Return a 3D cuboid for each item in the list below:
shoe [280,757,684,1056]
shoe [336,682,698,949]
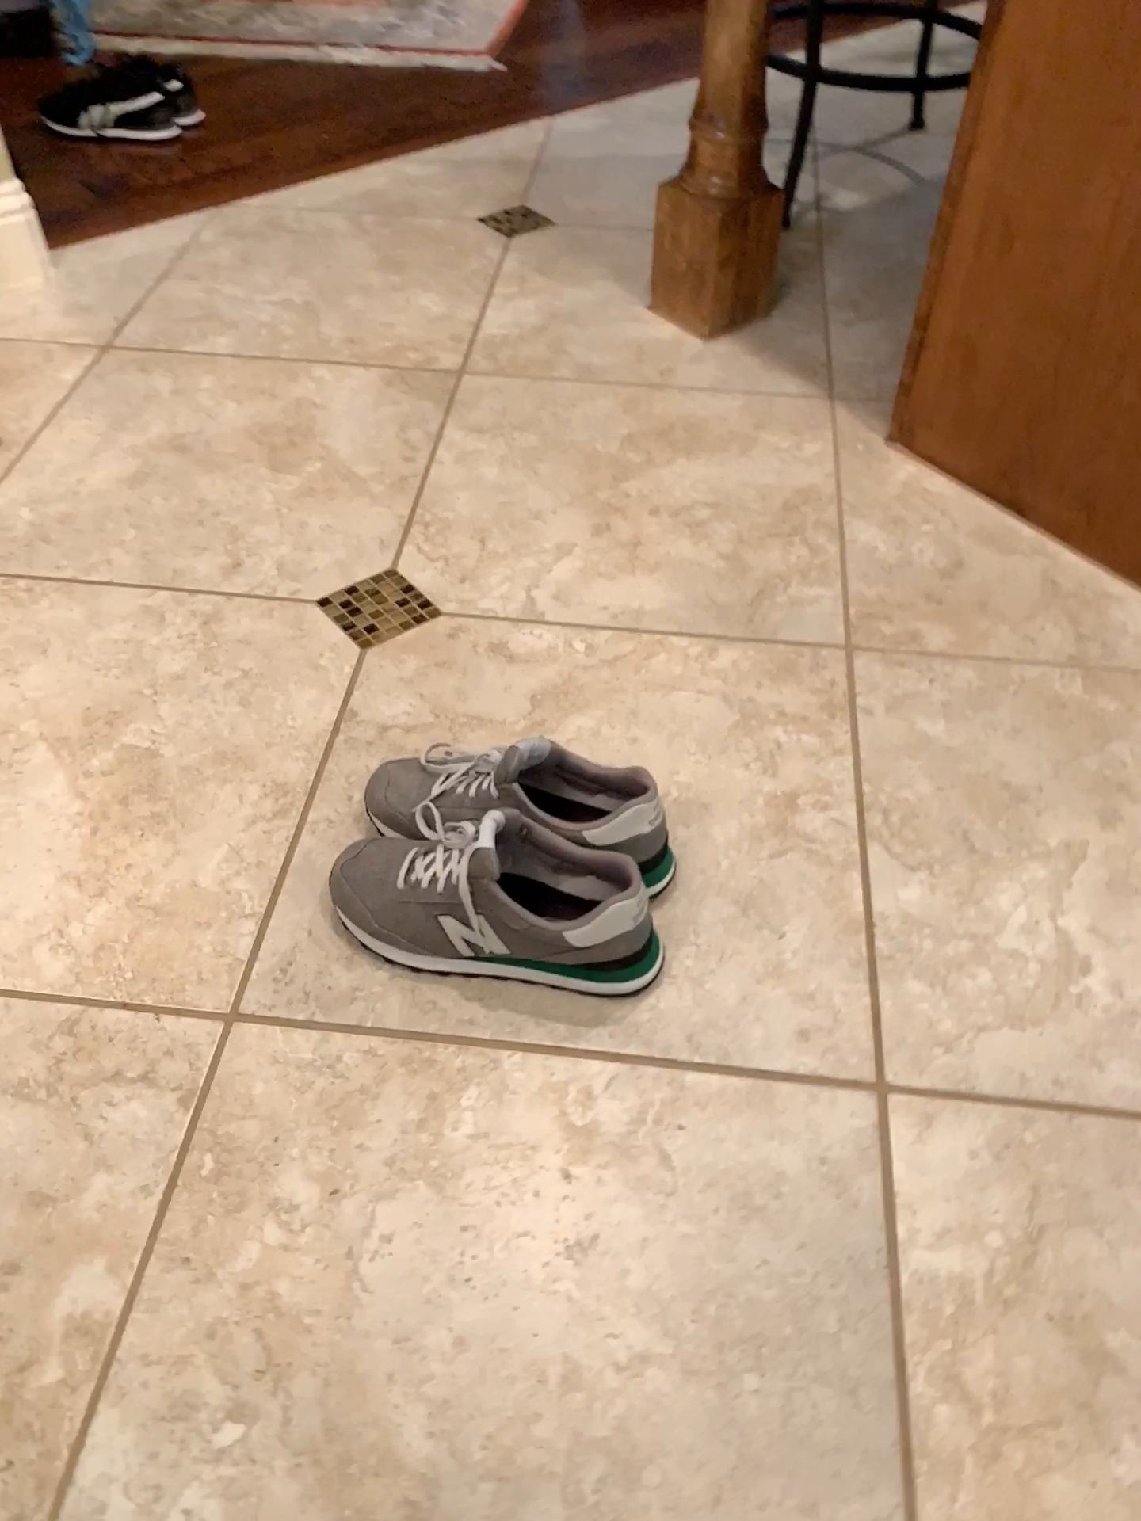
[{"bbox_3d":[-0.068,0.111,0.926,0.284,0.103,0.116,17,49,14],"label":"shoe"},{"bbox_3d":[-0.044,0.043,0.998,0.274,0.103,0.116,17,49,14],"label":"shoe"}]
